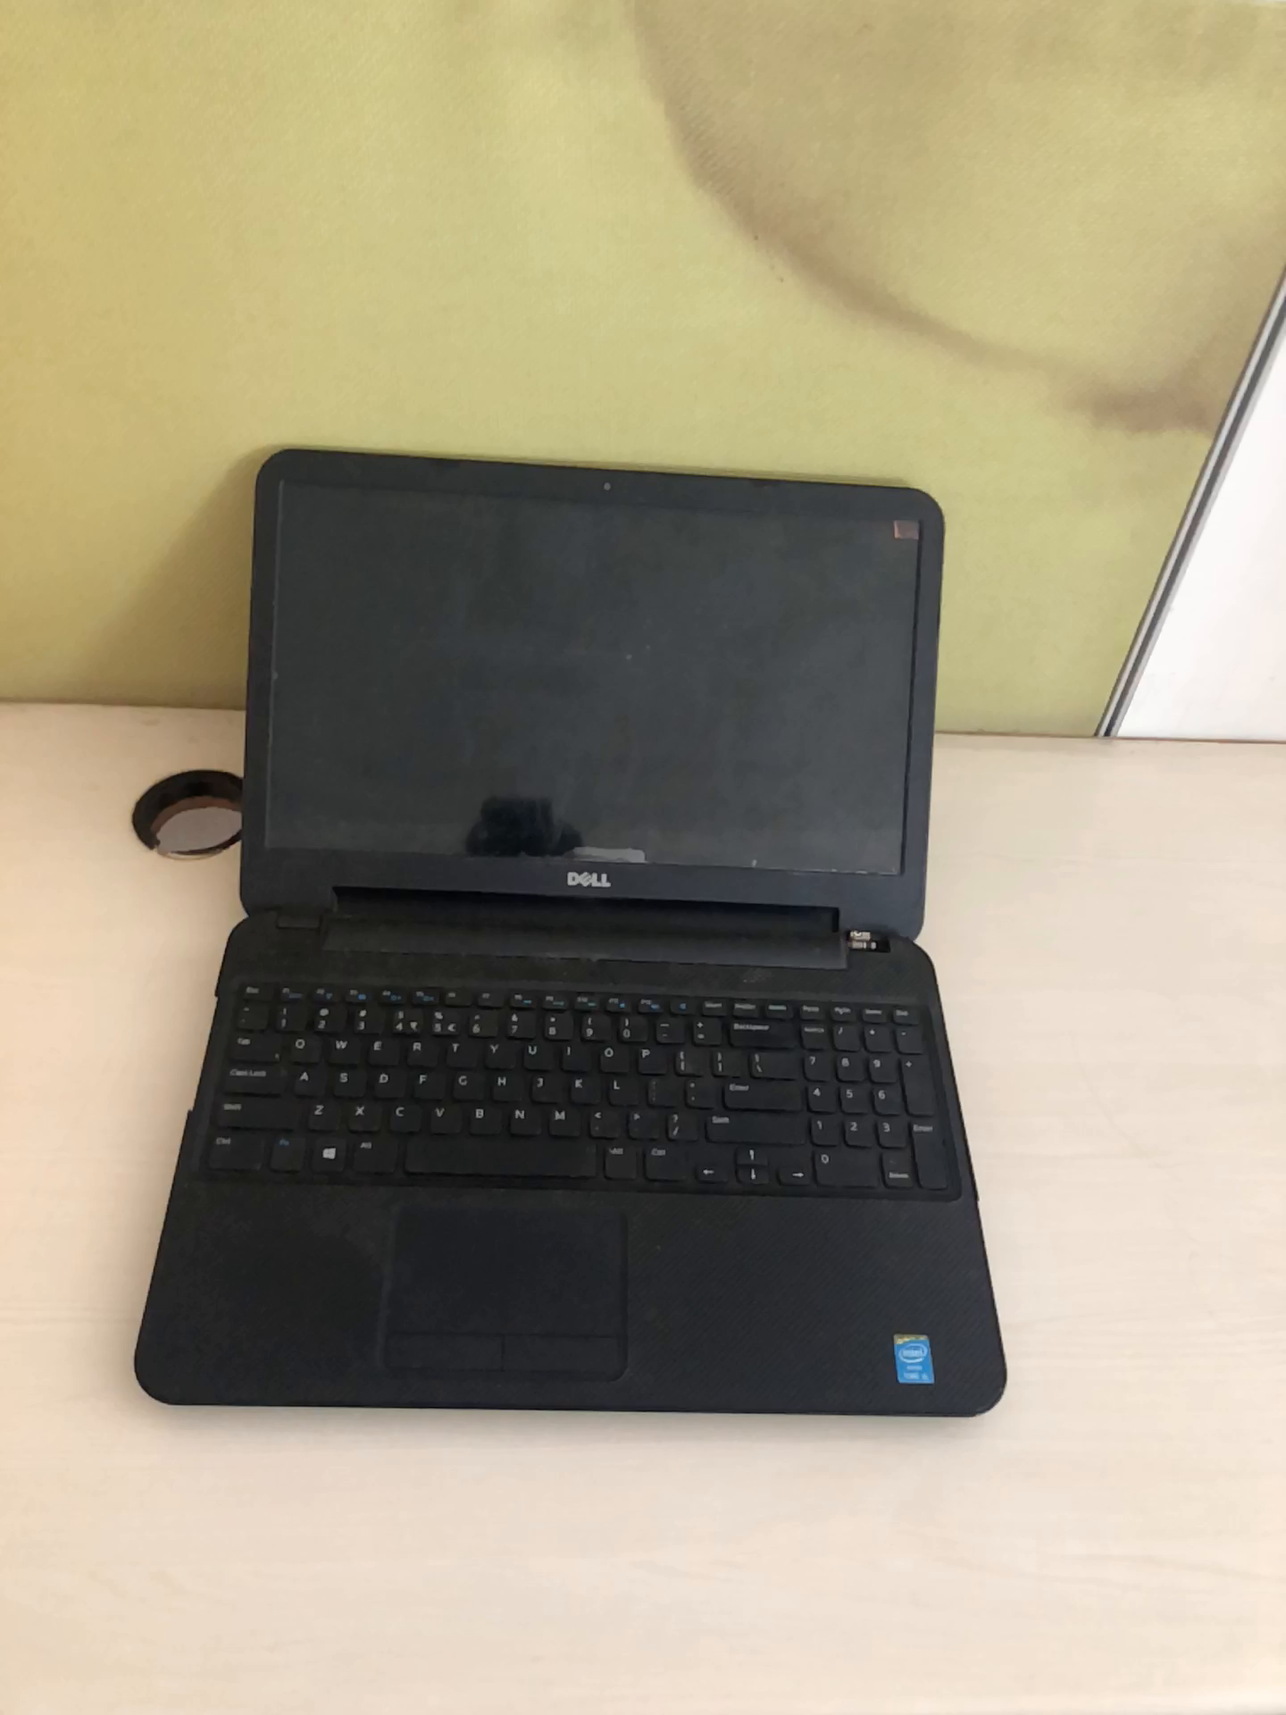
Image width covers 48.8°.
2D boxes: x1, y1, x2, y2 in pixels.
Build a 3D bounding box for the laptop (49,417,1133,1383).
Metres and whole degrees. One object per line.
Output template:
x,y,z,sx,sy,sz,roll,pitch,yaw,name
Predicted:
-0.020,-0.003,0.661,0.355,0.158,0.429,2,49,-4,laptop
